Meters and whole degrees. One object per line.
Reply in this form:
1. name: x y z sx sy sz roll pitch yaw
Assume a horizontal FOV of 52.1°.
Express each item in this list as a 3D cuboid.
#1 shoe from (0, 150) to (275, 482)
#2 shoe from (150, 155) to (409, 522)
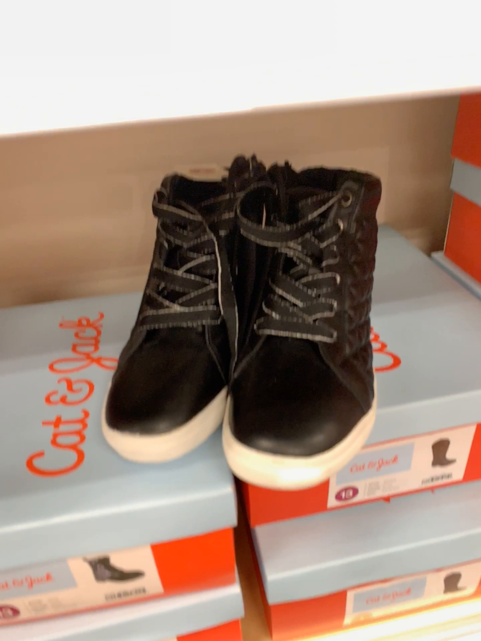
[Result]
1. shoe: -0.045 -0.027 0.347 0.100 0.119 0.231 4 35 12
2. shoe: 0.040 -0.016 0.311 0.100 0.109 0.231 4 35 12
